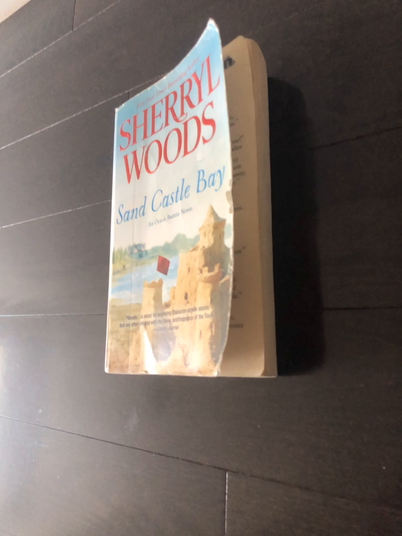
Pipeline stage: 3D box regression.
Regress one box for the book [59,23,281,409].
[{"bbox_3d":[-0.022,-0.019,0.234,0.120,0.037,0.161,-7,80,40],"label":"book"}]
